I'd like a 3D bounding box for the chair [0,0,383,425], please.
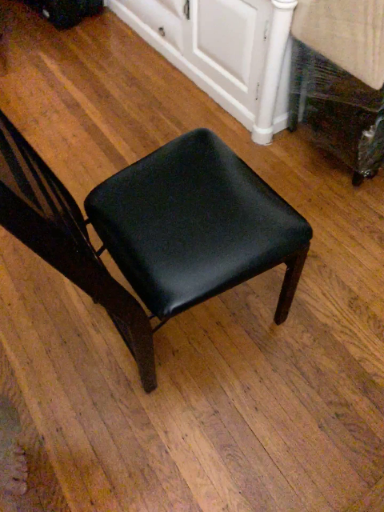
[{"bbox_3d":[-0.036,-0.123,0.802,0.550,0.867,0.492,-31,61,-18],"label":"chair"}]
